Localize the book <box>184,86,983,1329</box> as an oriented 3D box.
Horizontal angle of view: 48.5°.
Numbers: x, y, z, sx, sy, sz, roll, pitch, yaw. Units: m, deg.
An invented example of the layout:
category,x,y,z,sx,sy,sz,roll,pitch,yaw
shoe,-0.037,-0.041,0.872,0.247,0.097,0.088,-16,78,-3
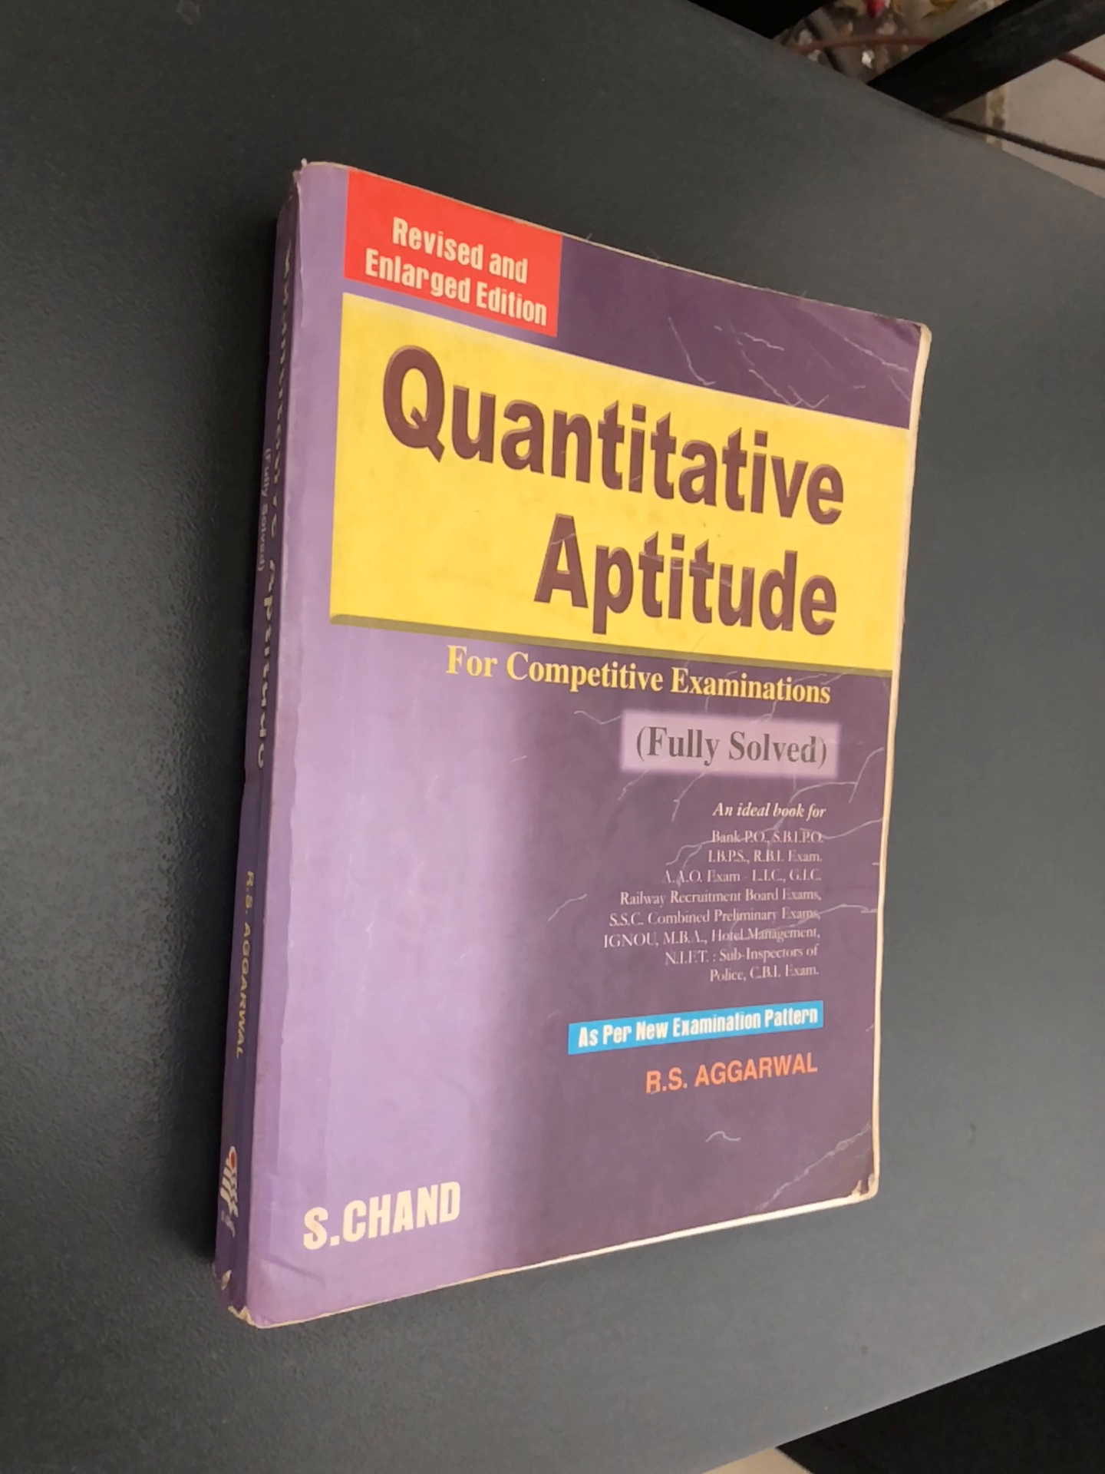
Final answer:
category,x,y,z,sx,sy,sz,roll,pitch,yaw
book,0.017,-0.002,0.287,0.181,0.050,0.220,4,88,-33
